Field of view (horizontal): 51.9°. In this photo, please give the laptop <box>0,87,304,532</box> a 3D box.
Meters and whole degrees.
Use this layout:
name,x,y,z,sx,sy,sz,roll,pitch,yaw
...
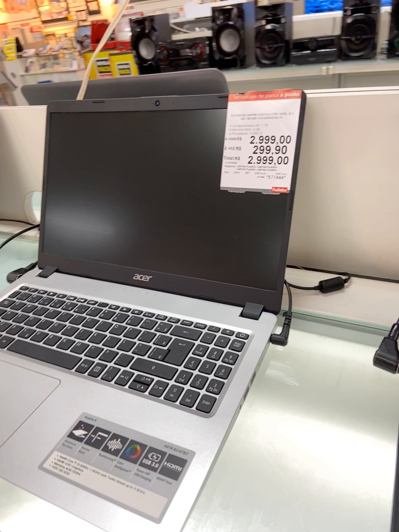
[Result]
name,x,y,z,sx,sy,sz,roll,pitch,yaw
laptop,-0.121,-0.026,0.424,0.367,0.205,0.374,8,35,26
